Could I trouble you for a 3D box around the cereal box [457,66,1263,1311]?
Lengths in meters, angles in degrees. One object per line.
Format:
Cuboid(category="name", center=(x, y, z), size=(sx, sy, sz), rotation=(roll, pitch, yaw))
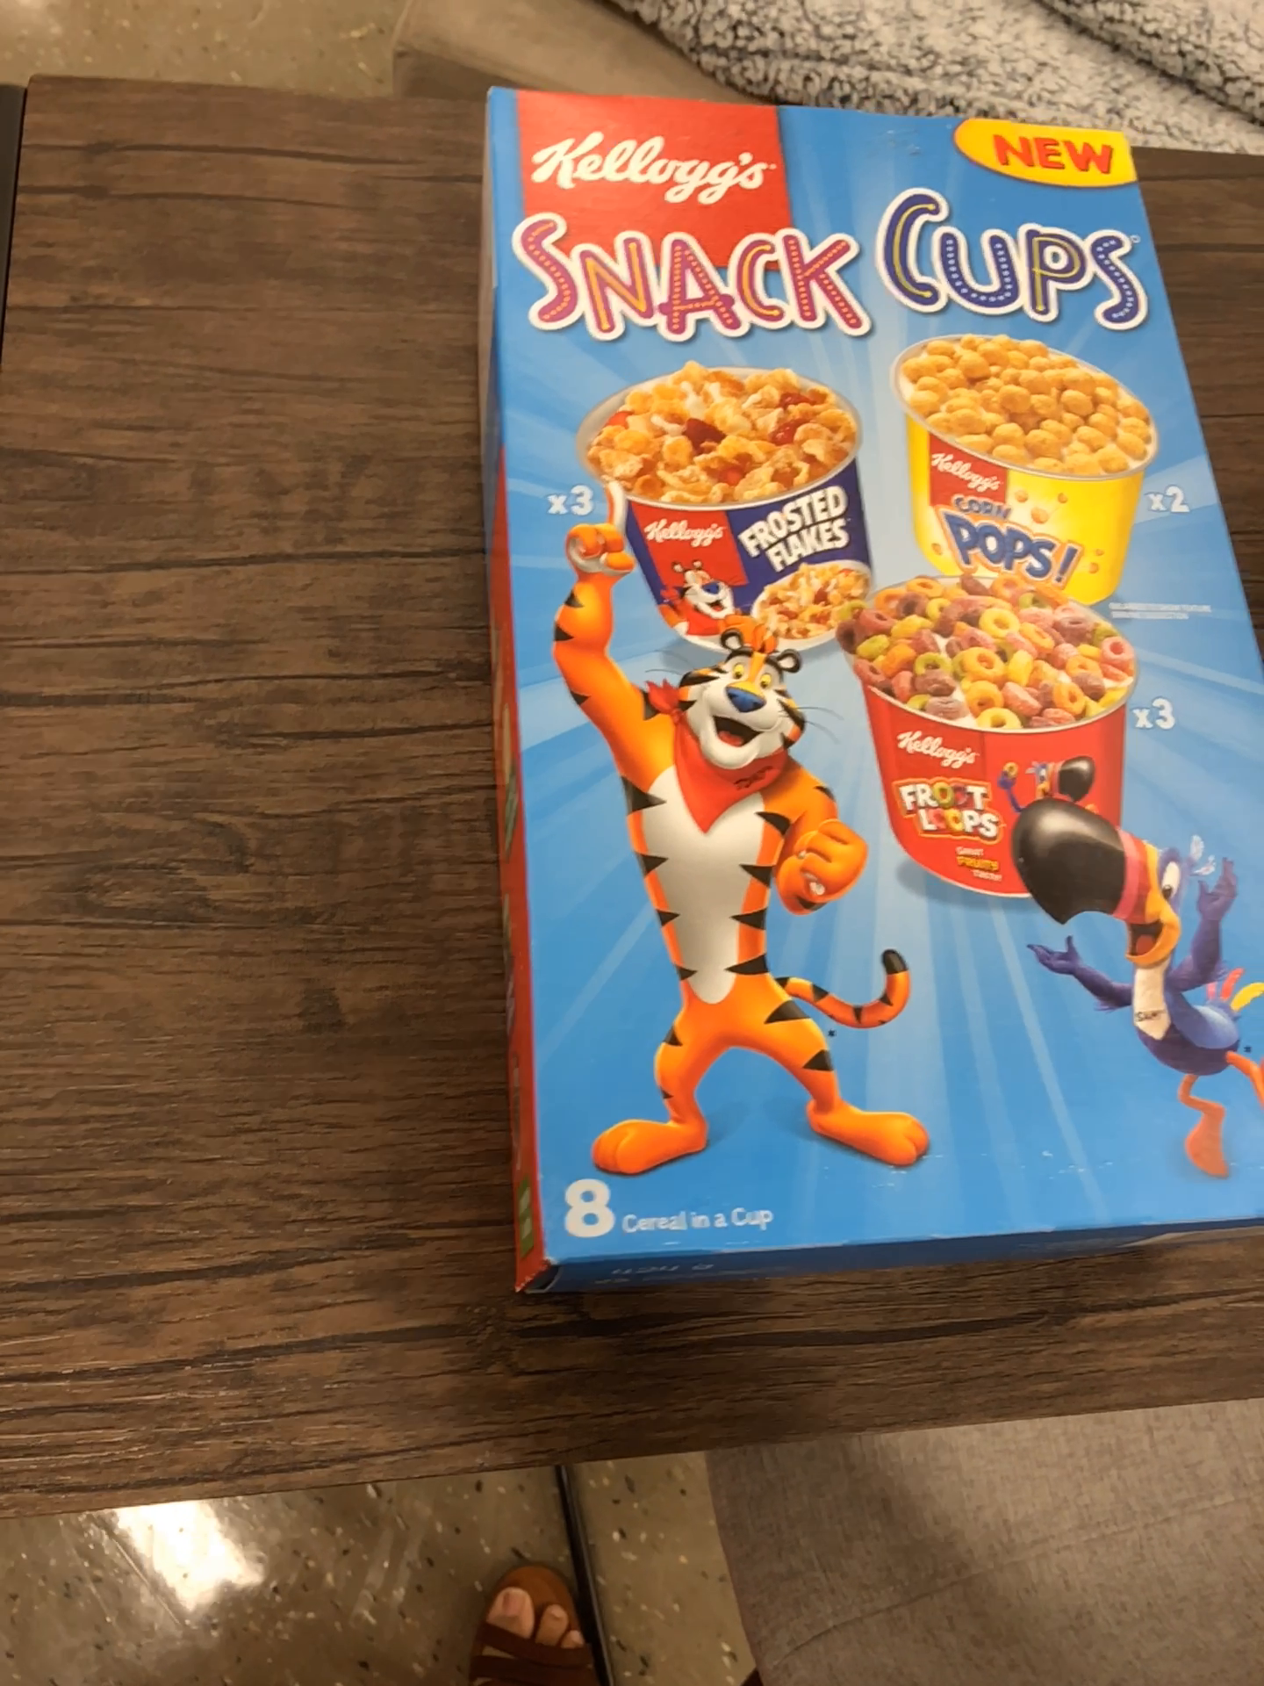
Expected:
Cuboid(category="cereal box", center=(0.067, -0.048, 0.404), size=(0.220, 0.100, 0.330), rotation=(-1, 70, -9))
